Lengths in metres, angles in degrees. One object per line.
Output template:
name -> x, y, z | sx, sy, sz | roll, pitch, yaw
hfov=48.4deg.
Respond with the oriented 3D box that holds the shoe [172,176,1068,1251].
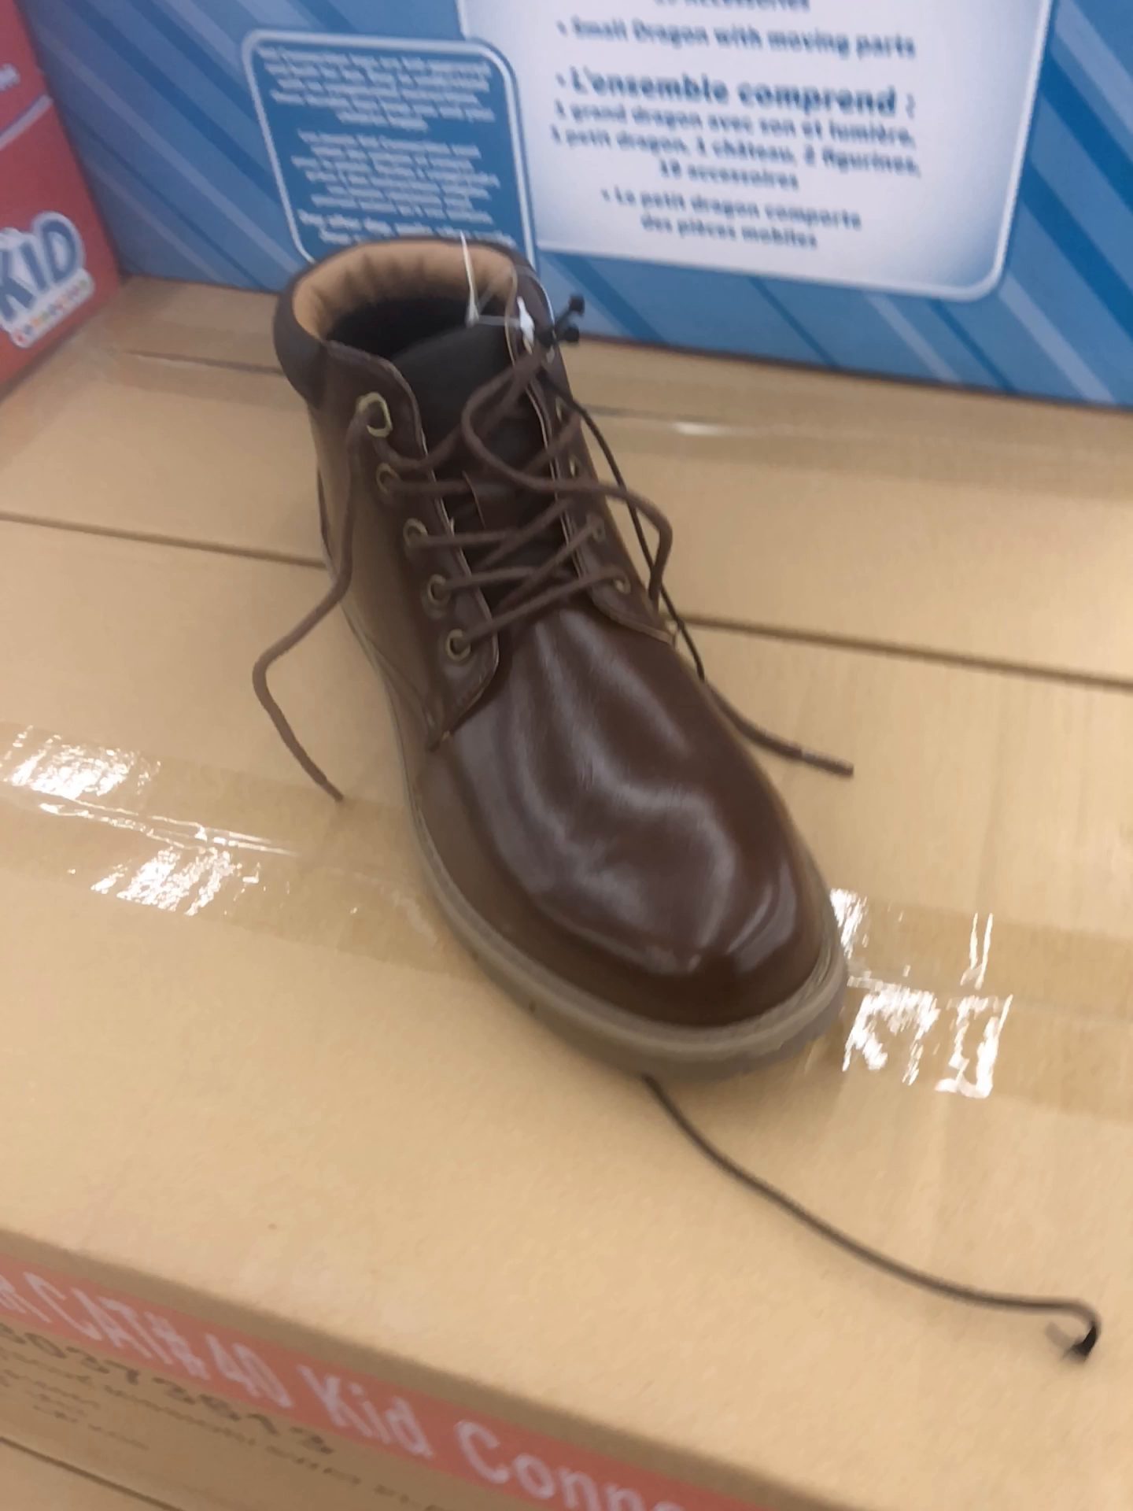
shoe -> -0.007, -0.035, 0.392 | 0.120, 0.159, 0.291 | -22, 48, -13
